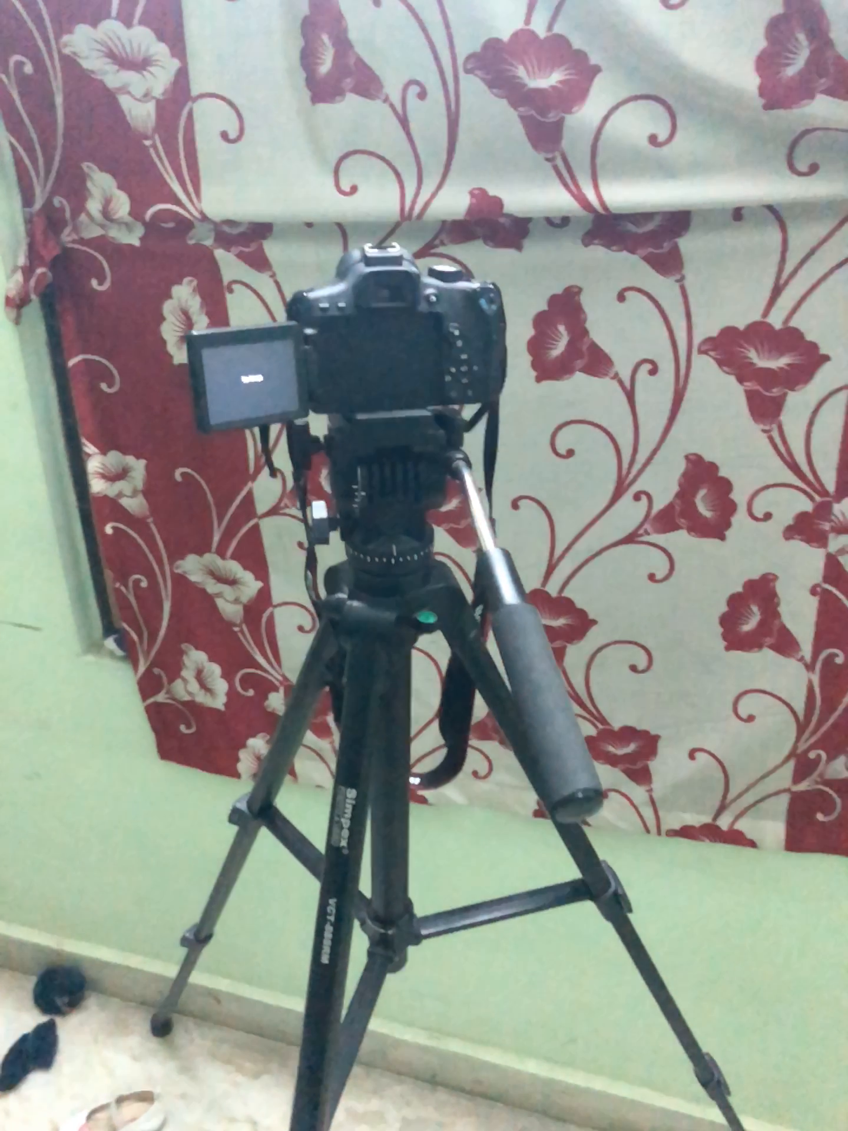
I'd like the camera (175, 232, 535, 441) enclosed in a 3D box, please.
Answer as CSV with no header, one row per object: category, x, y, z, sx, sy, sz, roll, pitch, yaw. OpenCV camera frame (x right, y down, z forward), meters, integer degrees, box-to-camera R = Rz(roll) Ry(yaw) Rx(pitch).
camera,-0.049,-0.153,0.597,0.200,0.087,0.141,-5,30,-10
